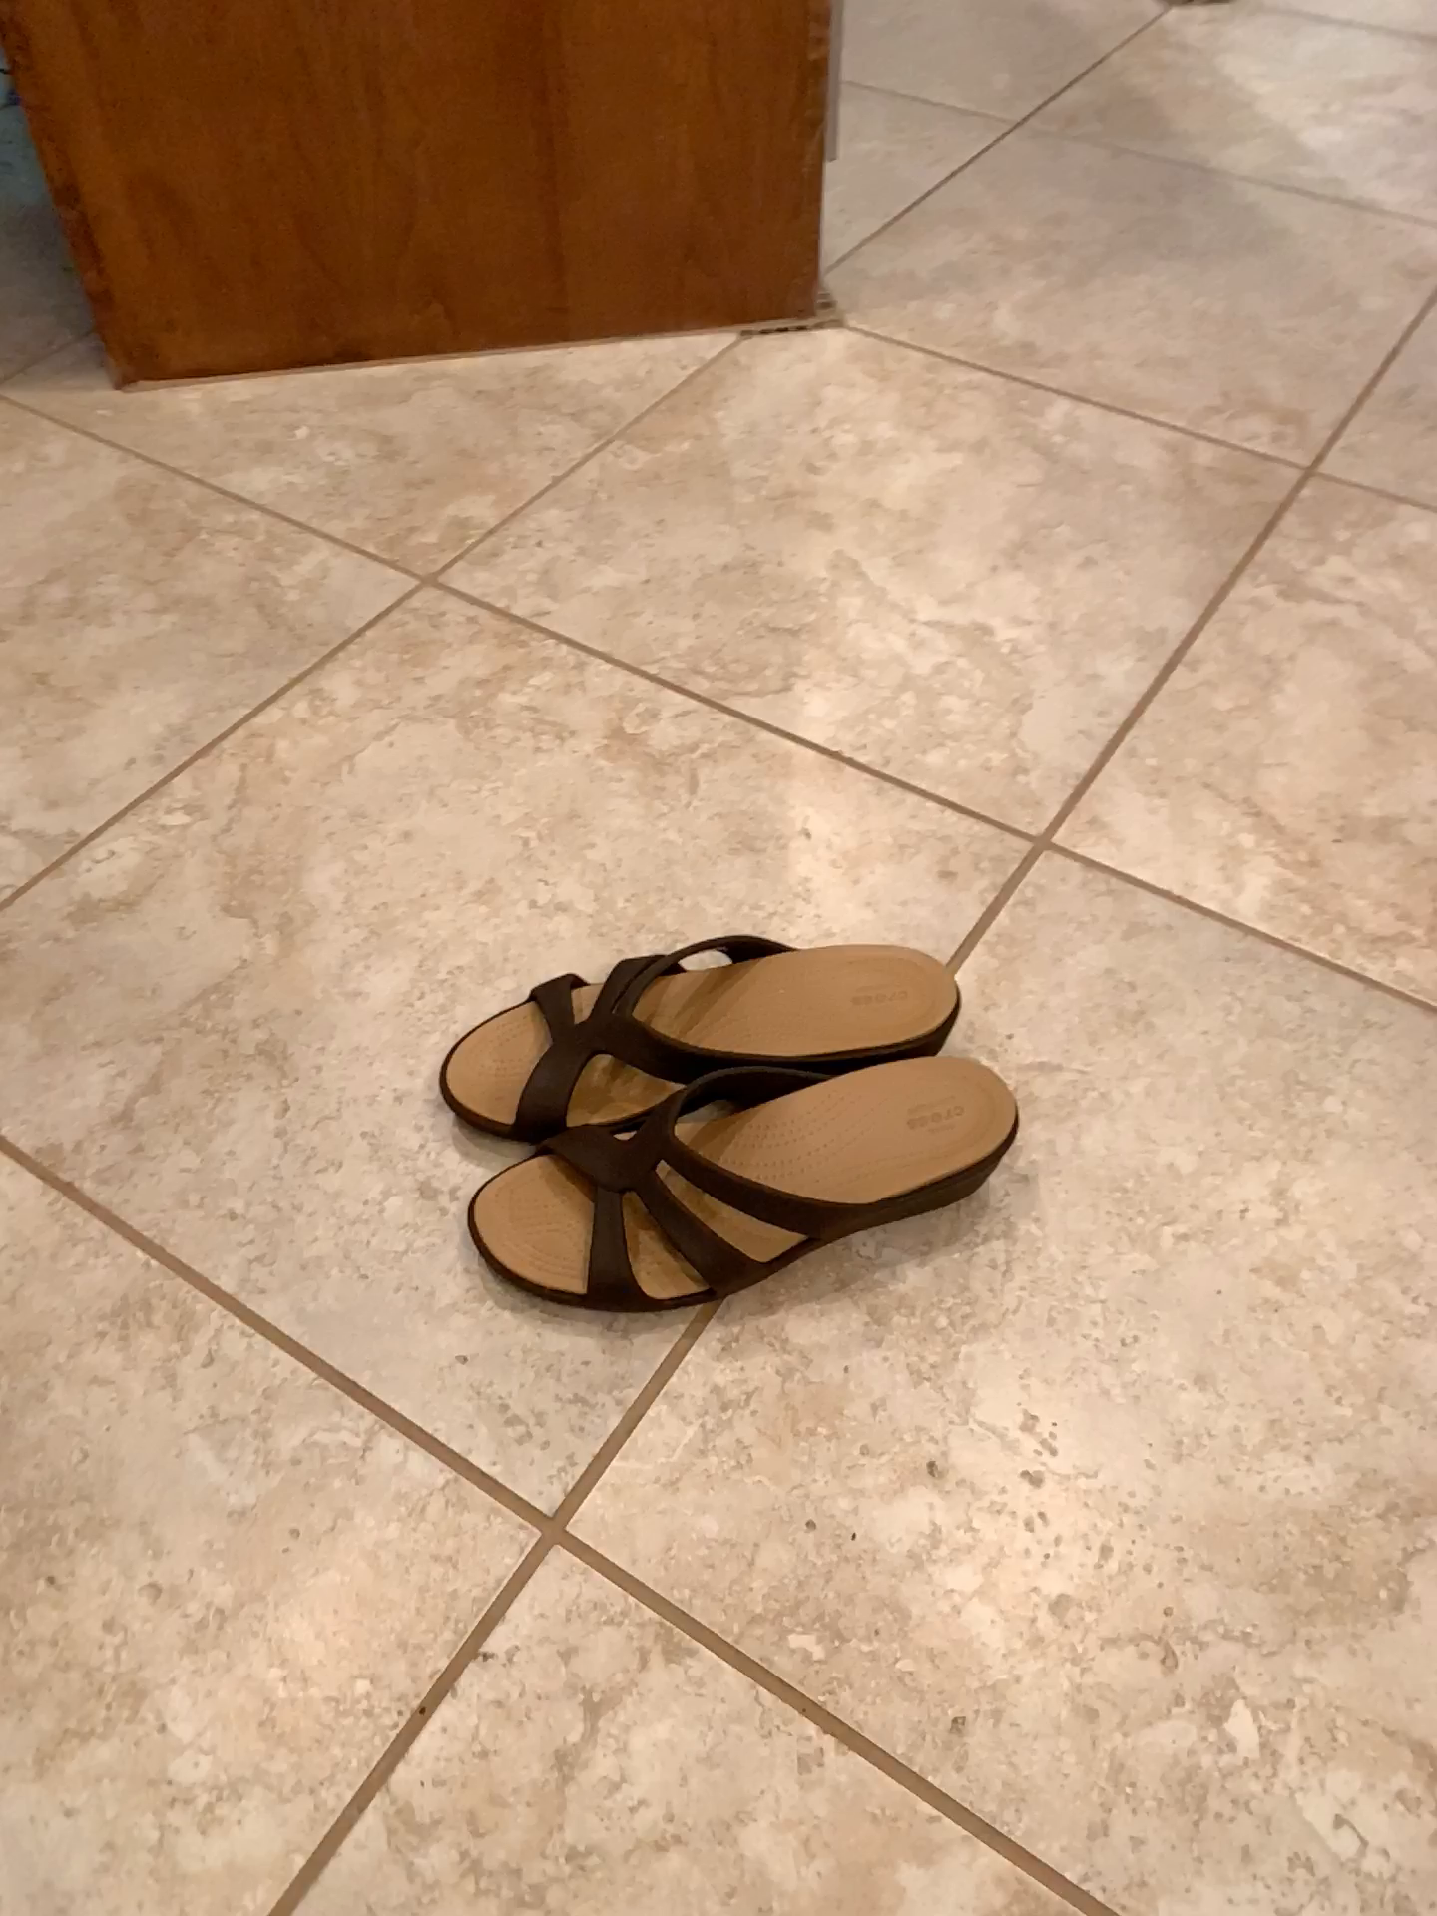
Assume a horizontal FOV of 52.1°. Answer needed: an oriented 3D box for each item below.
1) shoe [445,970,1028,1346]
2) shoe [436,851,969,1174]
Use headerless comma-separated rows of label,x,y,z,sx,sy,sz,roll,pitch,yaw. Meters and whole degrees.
shoe,0.005,0.099,0.742,0.263,0.092,0.110,-9,50,-7
shoe,-0.012,0.028,0.779,0.258,0.092,0.110,-6,49,-5
